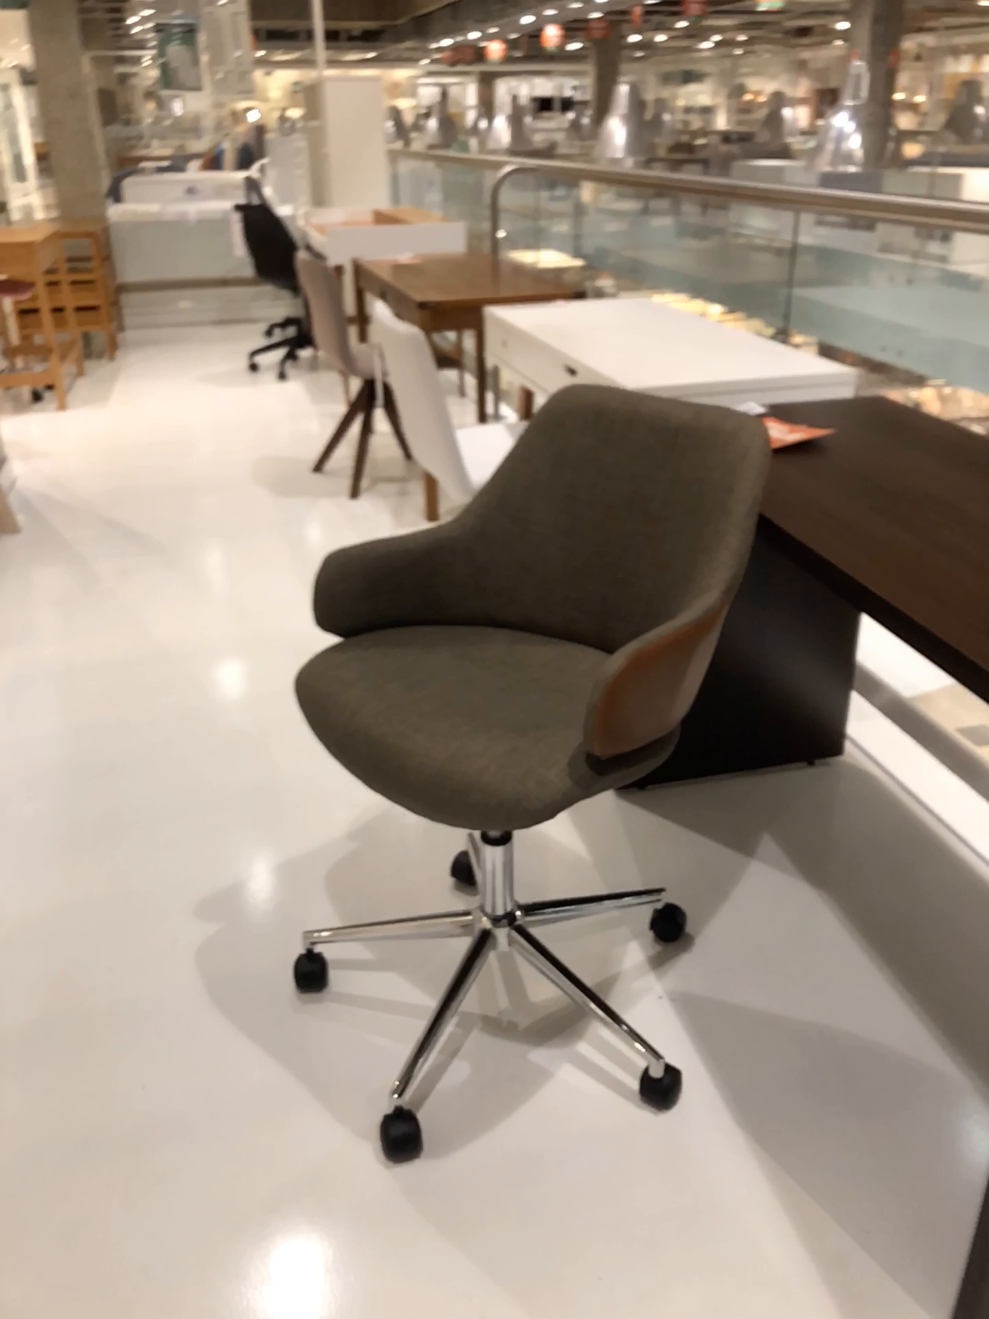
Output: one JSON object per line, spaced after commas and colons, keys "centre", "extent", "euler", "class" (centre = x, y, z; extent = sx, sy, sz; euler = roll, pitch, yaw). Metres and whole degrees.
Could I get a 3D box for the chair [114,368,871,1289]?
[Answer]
{"centre": [0.021, 0.136, 1.520], "extent": [0.612, 0.884, 0.703], "euler": [21, 33, 38], "class": "chair"}
